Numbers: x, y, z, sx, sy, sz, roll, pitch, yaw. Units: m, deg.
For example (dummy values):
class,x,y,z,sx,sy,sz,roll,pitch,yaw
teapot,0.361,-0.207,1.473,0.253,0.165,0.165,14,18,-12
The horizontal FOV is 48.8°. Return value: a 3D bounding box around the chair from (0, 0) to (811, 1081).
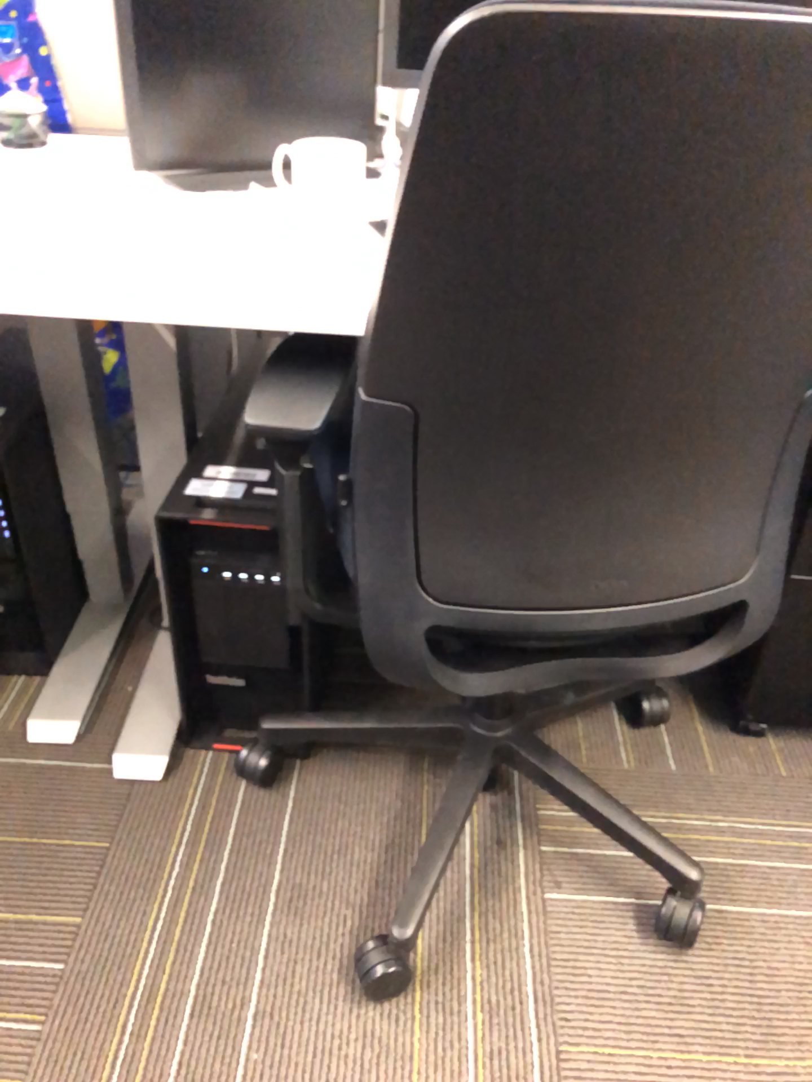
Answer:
class,x,y,z,sx,sy,sz,roll,pitch,yaw
chair,0.109,-0.027,0.957,0.780,1.014,0.664,3,34,0
